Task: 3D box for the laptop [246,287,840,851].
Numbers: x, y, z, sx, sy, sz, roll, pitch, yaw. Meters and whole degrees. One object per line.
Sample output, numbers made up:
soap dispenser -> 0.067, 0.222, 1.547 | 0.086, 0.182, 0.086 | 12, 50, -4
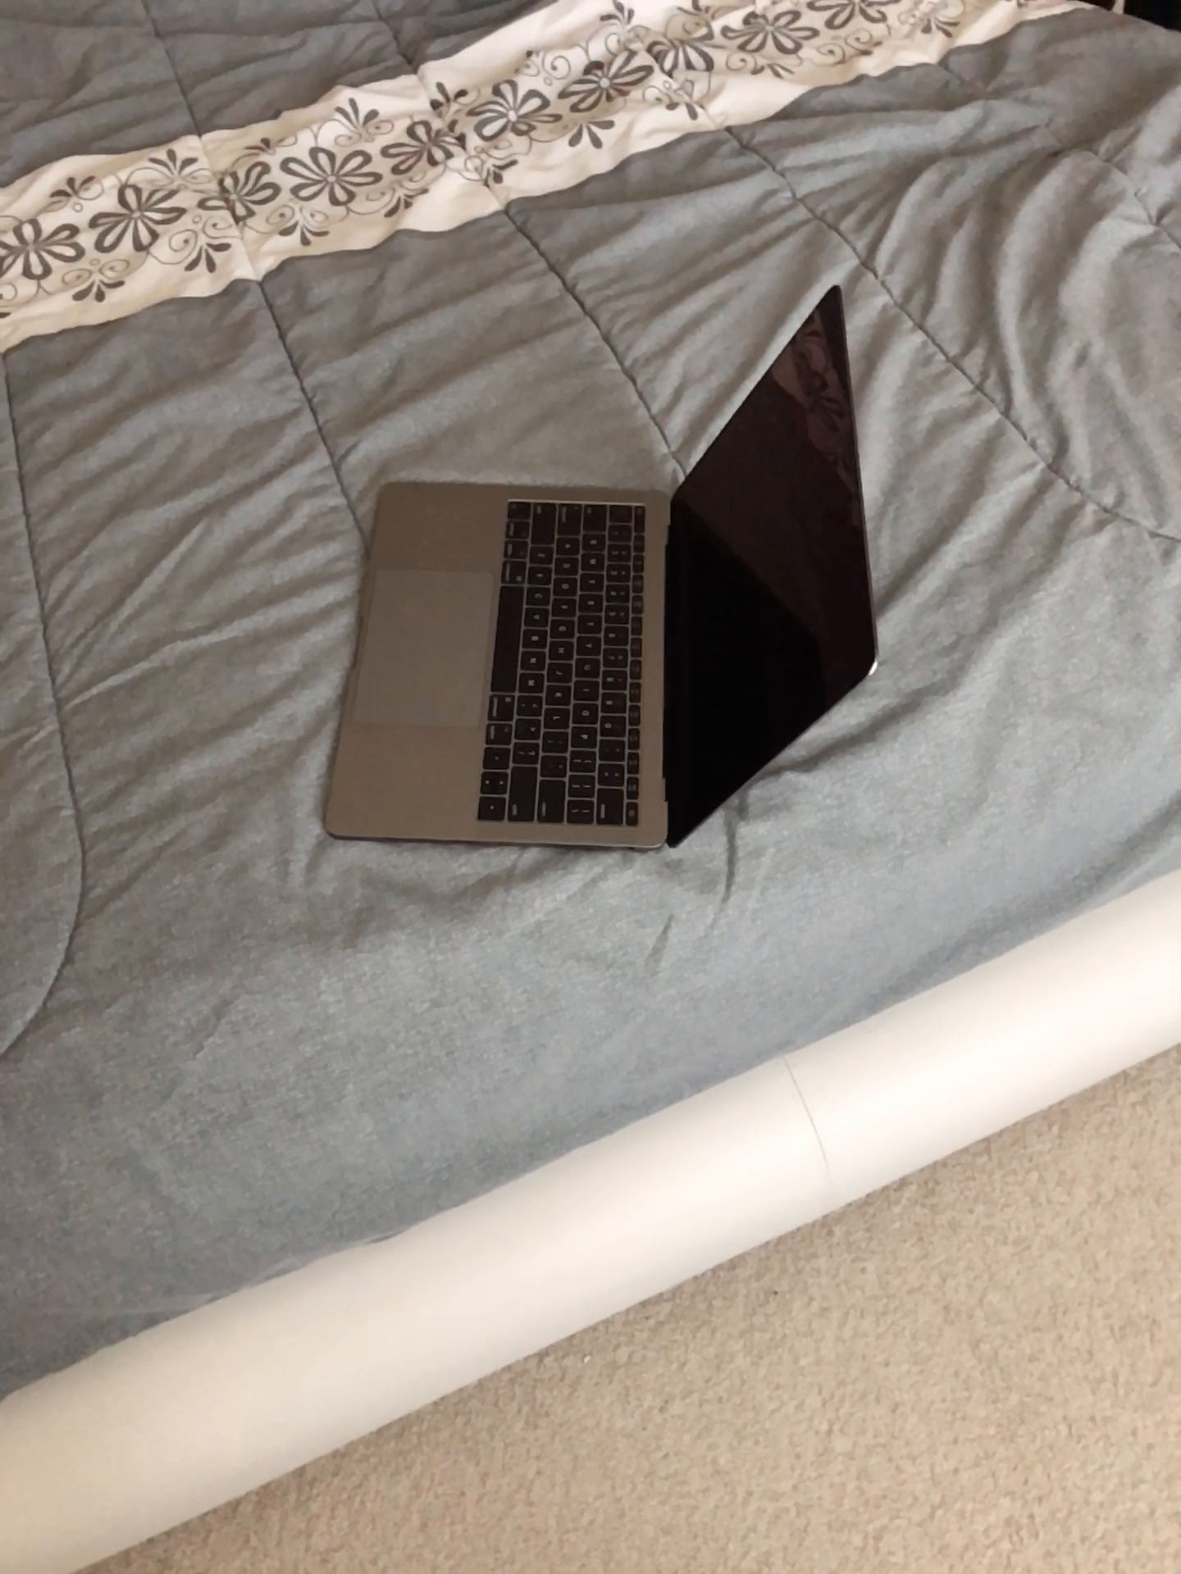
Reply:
laptop -> -0.012, -0.130, 0.758 | 0.281, 0.159, 0.280 | 1, 57, 2
